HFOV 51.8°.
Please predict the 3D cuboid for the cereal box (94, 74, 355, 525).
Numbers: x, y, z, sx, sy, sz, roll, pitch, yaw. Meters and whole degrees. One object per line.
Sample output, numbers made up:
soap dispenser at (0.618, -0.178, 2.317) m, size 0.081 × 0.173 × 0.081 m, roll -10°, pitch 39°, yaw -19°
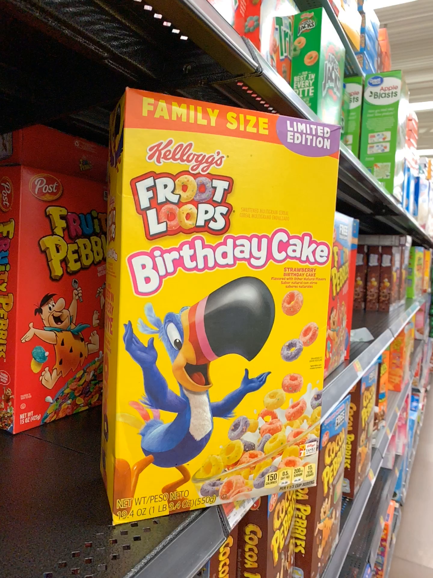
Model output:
cereal box at (0.006, 0.011, 0.402) m, size 0.200 × 0.330 × 0.080 m, roll 2°, pitch 4°, yaw -24°
